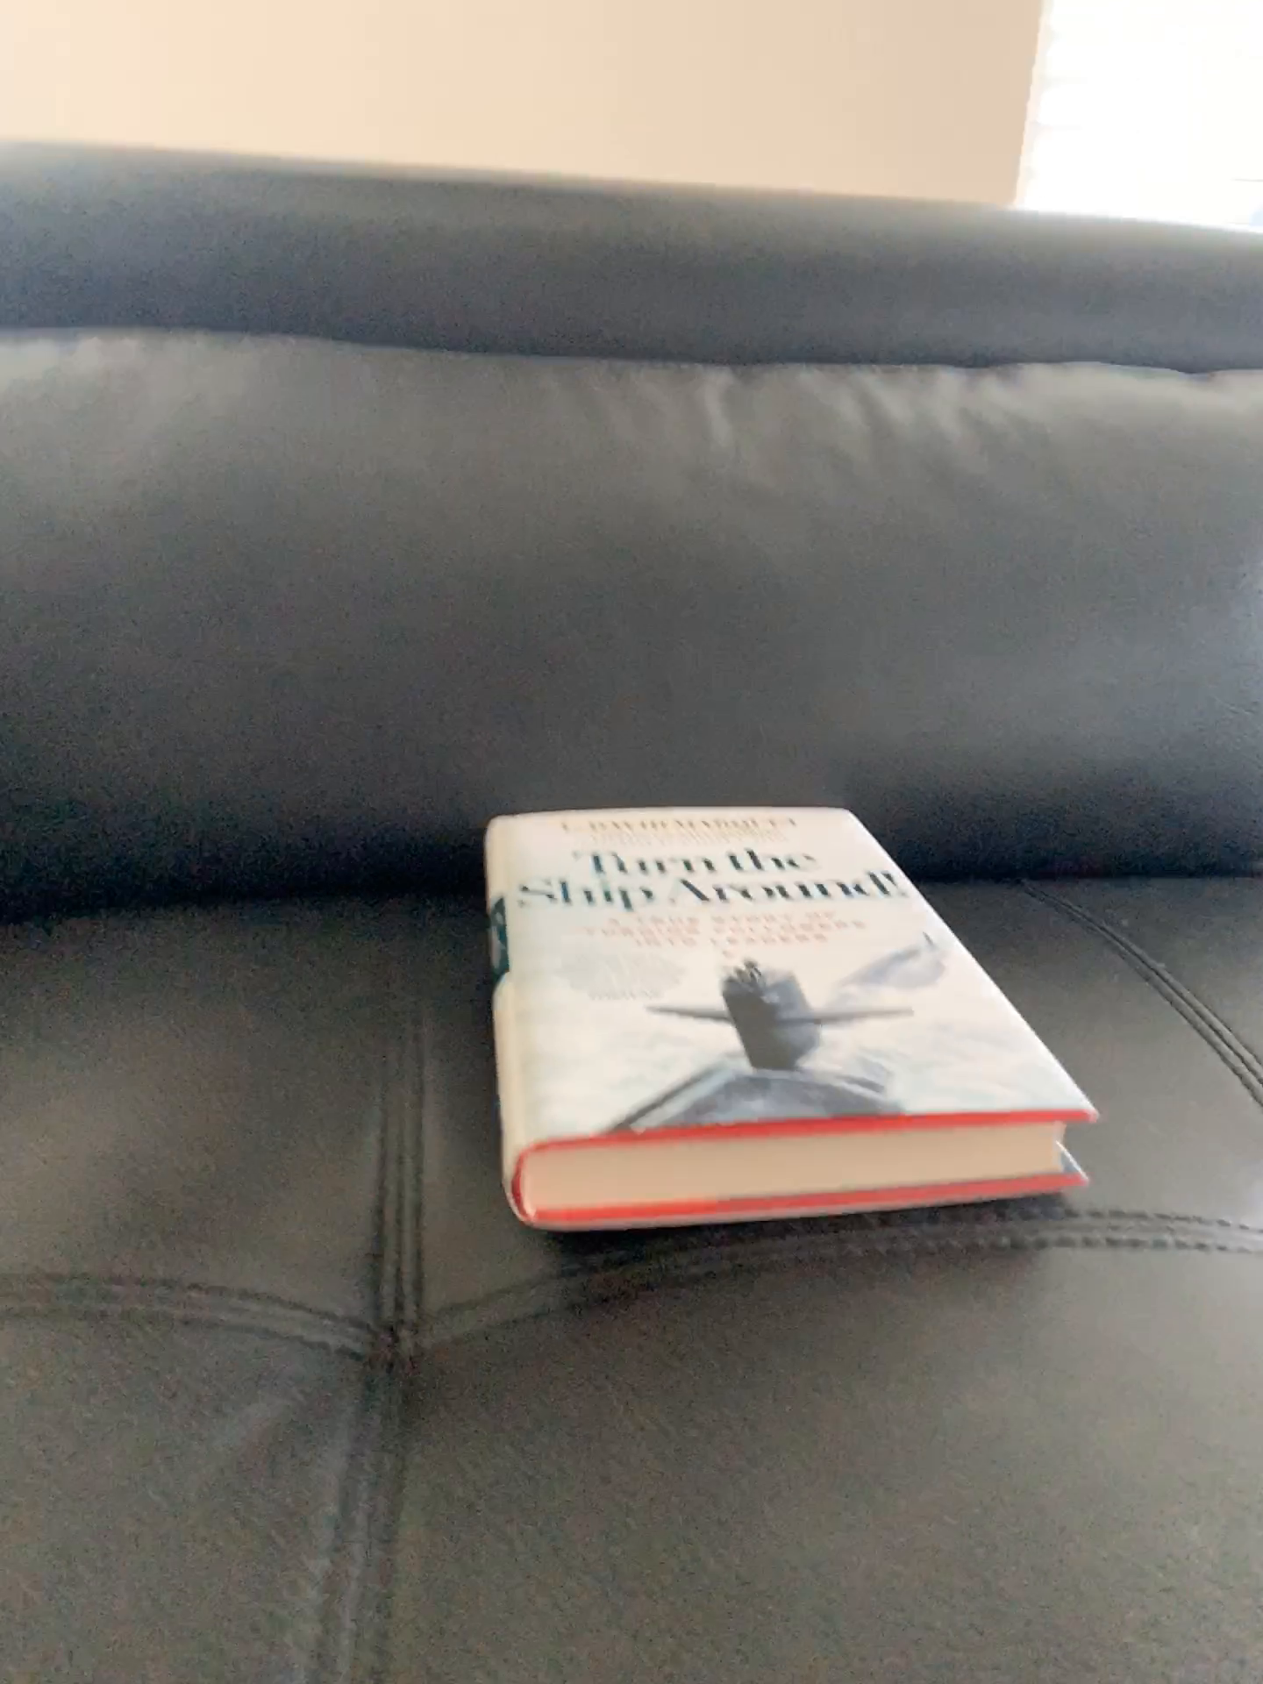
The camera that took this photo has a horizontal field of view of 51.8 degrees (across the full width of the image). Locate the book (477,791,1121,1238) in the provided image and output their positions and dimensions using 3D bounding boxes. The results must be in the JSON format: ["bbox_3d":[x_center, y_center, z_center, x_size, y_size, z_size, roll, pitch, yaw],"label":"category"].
[{"bbox_3d":[0.029,0.037,0.417,0.152,0.029,0.227,-1,22,-7],"label":"book"}]
